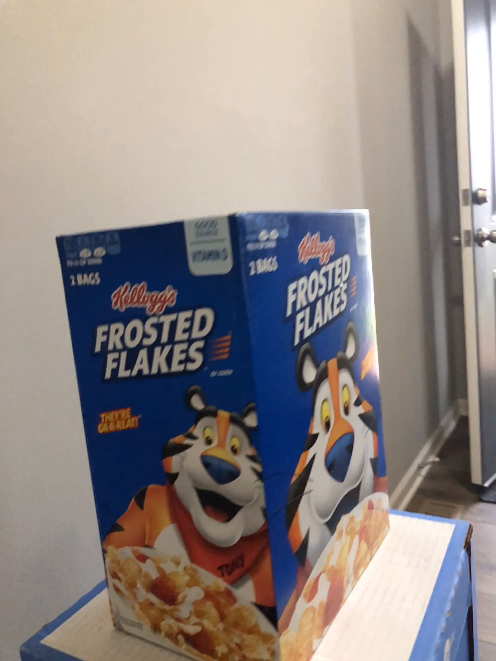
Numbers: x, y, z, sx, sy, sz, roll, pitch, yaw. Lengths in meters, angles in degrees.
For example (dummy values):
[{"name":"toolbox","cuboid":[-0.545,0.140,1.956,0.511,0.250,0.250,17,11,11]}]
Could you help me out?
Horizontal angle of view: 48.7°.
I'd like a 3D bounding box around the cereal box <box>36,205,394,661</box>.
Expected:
[{"name":"cereal box","cuboid":[-0.001,0.061,0.493,0.170,0.319,0.260,0,10,32]}]
